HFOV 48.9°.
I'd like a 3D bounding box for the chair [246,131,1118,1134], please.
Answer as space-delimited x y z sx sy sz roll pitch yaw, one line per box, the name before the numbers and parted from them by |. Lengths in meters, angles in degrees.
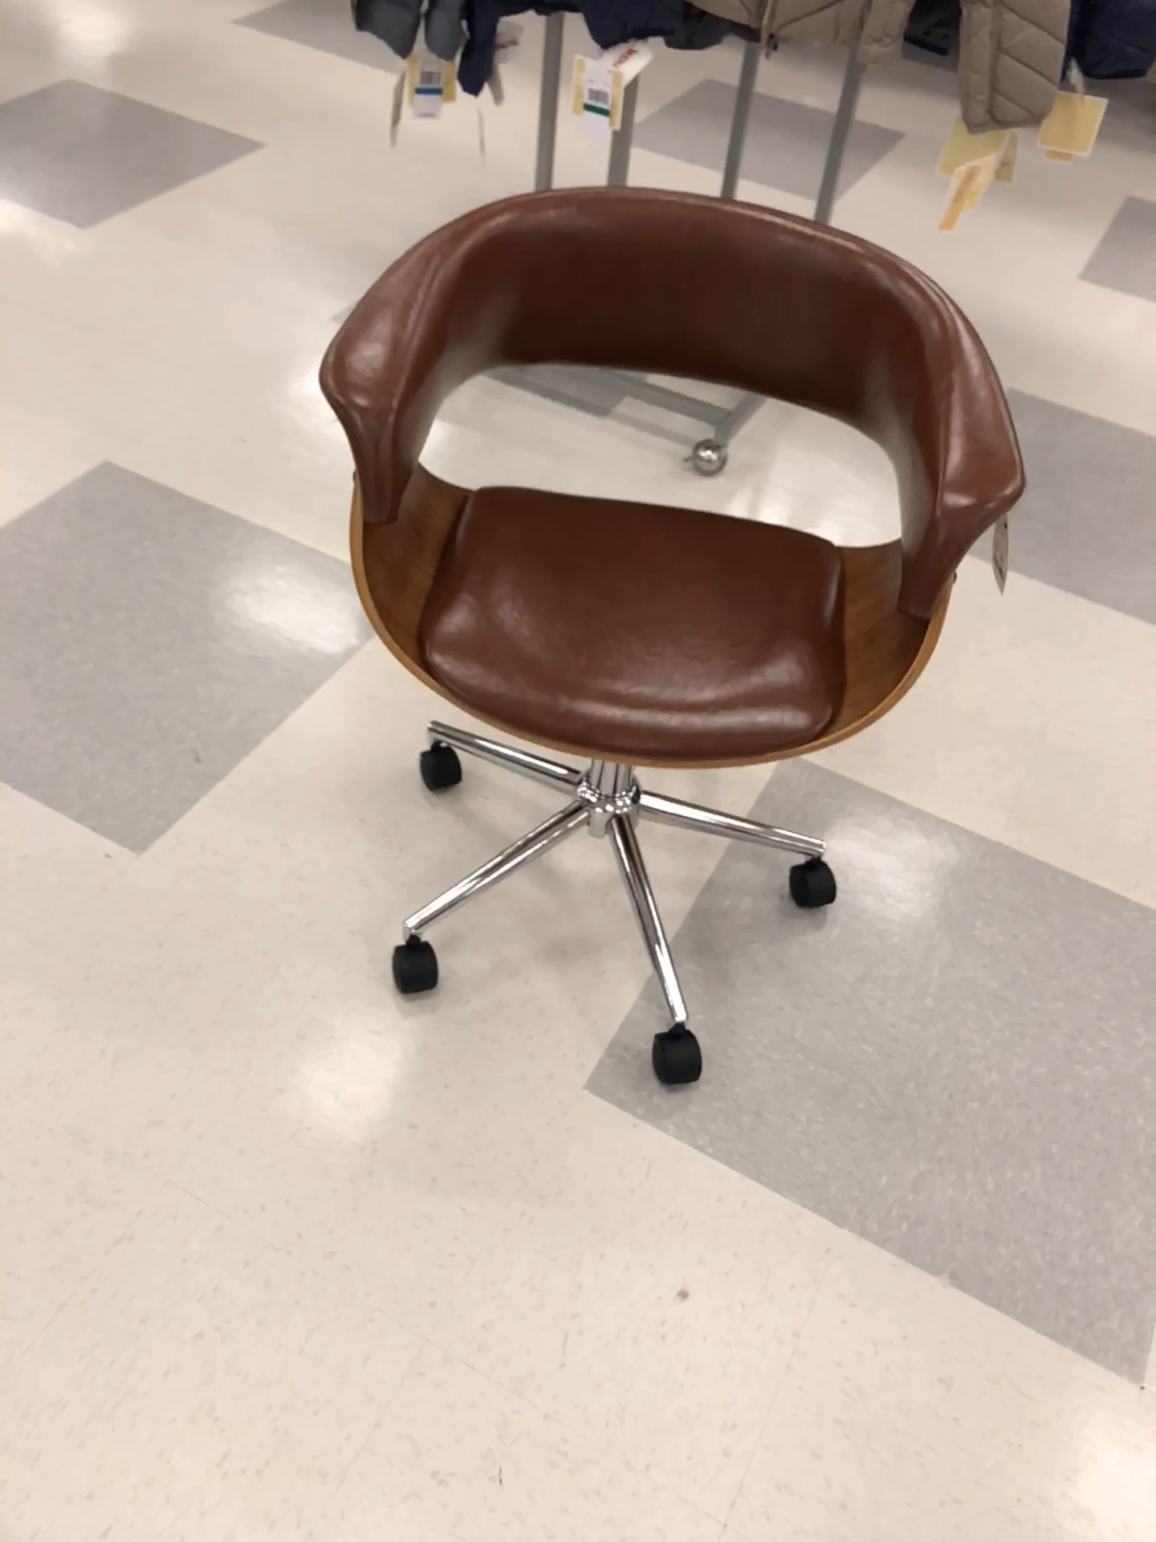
chair | 0.084 -0.138 1.313 0.588 0.696 0.630 11 46 3
